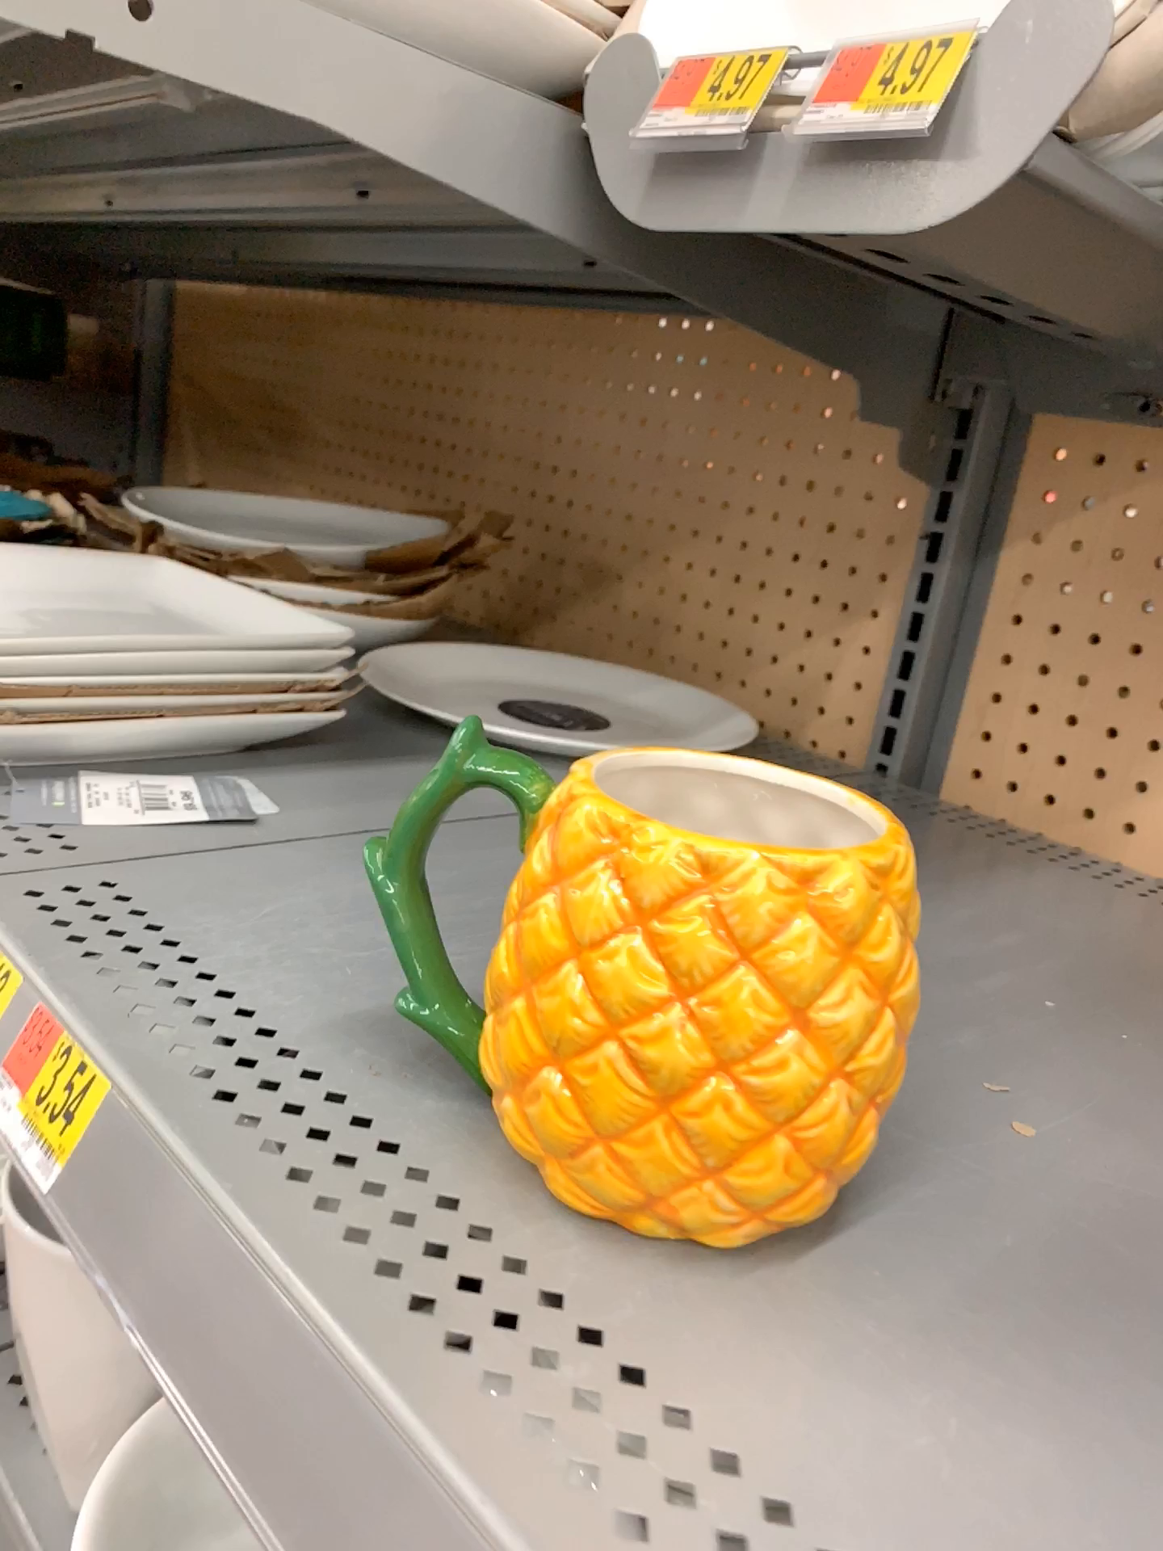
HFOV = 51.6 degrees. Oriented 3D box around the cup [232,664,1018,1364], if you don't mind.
[{"bbox_3d":[0.012,0.043,0.307,0.160,0.100,0.100,16,17,21],"label":"cup"}]
